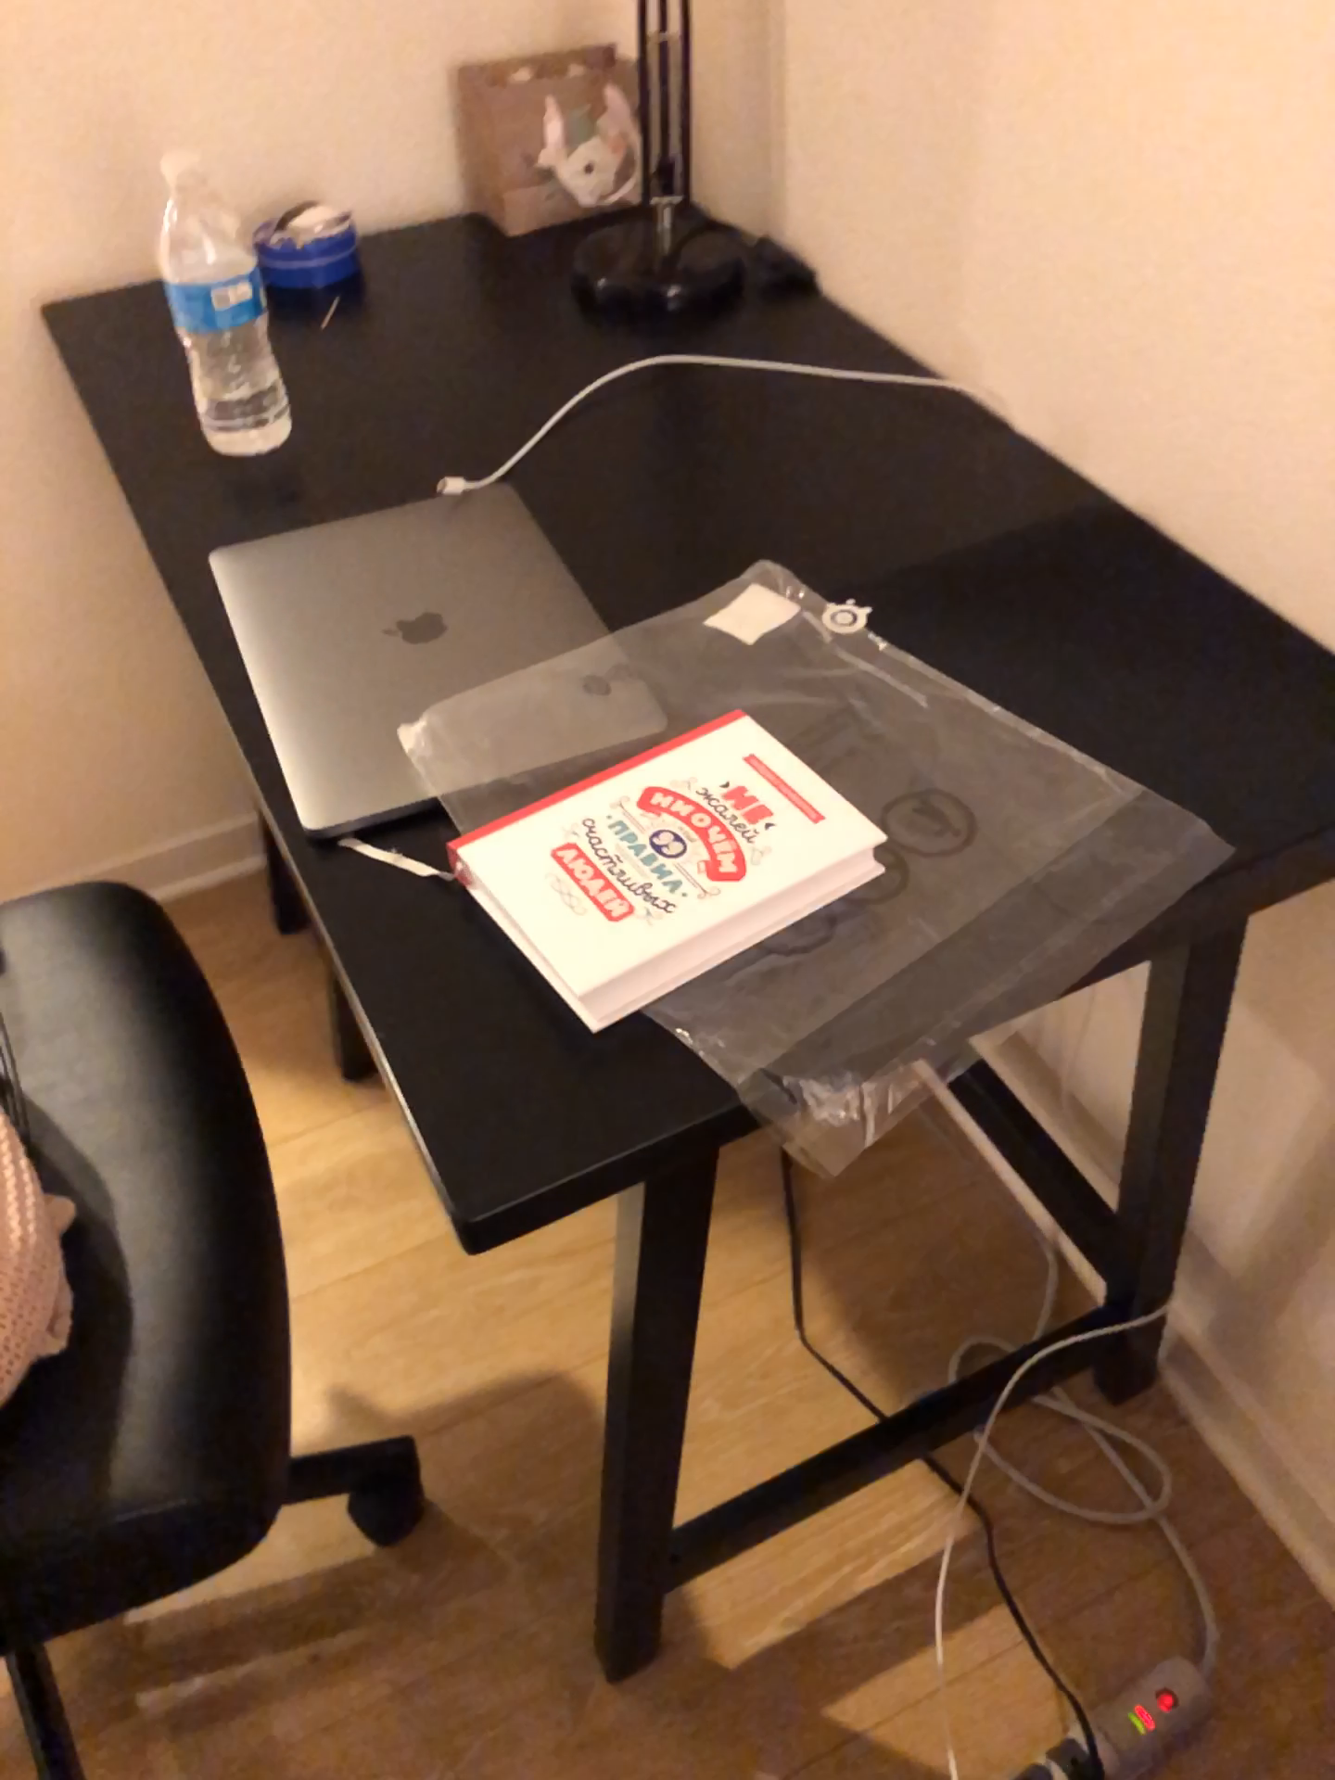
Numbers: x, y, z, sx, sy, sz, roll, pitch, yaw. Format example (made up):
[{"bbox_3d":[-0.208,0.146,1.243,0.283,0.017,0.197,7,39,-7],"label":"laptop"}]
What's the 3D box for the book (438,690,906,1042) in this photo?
[{"bbox_3d":[0.002,-0.021,0.753,0.190,0.030,0.140,-28,50,-23],"label":"book"}]
